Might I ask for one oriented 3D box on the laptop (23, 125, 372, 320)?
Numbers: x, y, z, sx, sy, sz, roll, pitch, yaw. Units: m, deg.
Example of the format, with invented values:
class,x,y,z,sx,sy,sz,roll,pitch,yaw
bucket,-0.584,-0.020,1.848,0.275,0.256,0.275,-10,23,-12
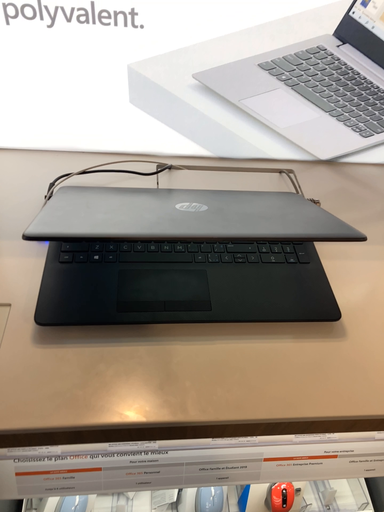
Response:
class,x,y,z,sx,sy,sz,roll,pitch,yaw
laptop,0.000,-0.049,0.540,0.351,0.107,0.239,1,47,-7
